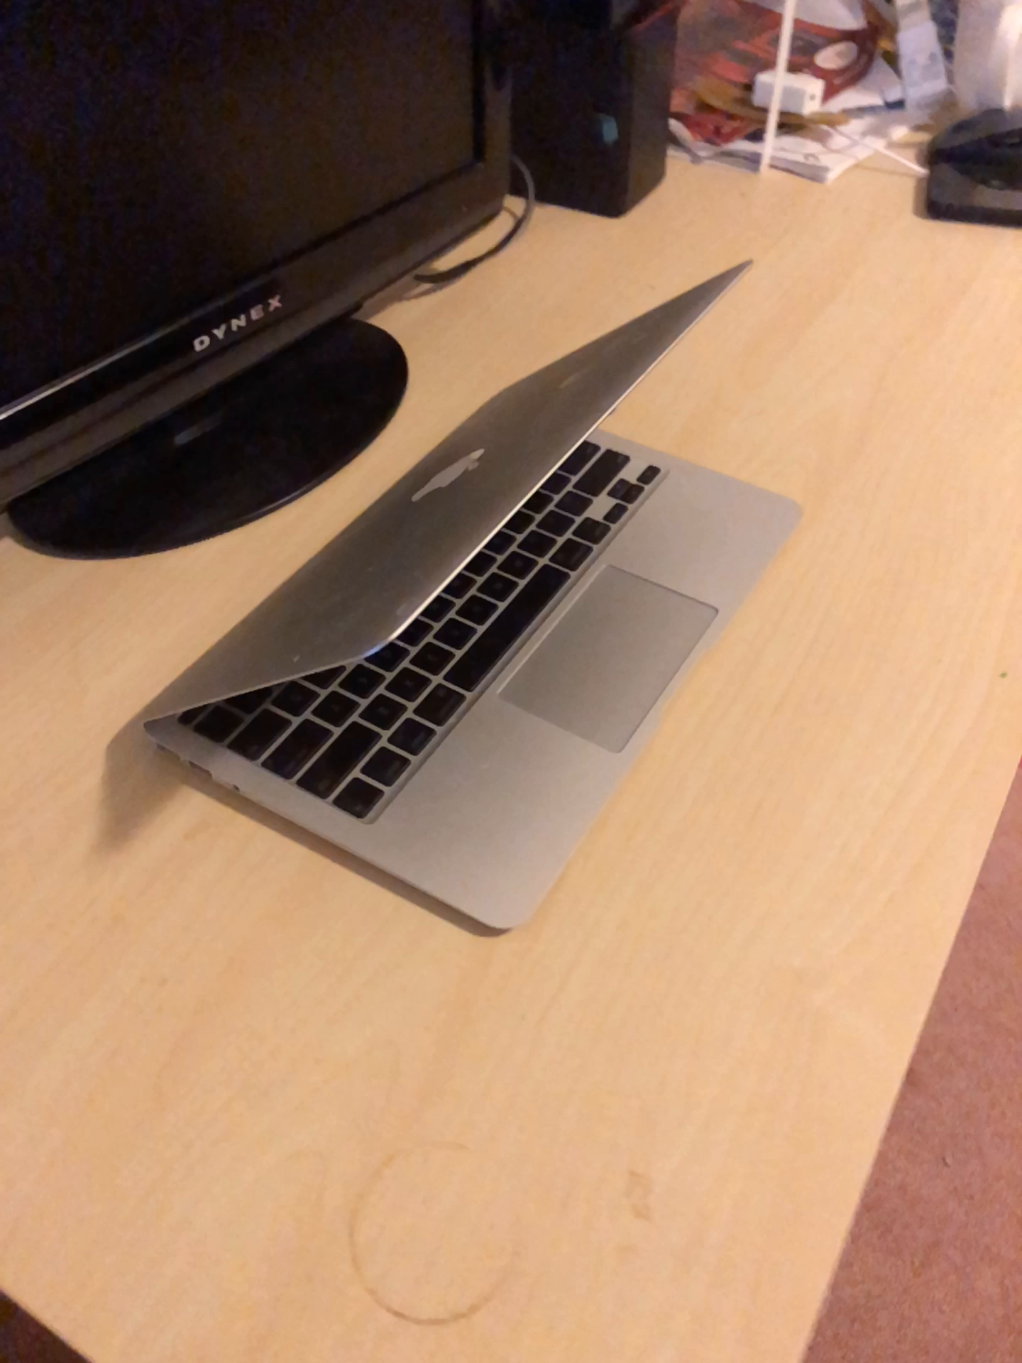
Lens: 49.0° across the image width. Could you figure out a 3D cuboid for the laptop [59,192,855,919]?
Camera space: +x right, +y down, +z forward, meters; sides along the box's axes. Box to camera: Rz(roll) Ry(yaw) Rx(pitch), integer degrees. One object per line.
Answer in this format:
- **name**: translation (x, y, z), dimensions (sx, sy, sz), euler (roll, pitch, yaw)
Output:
- **laptop**: translation (-0.004, -0.079, 0.492), dimensions (0.189, 0.127, 0.288), euler (23, 51, 21)
